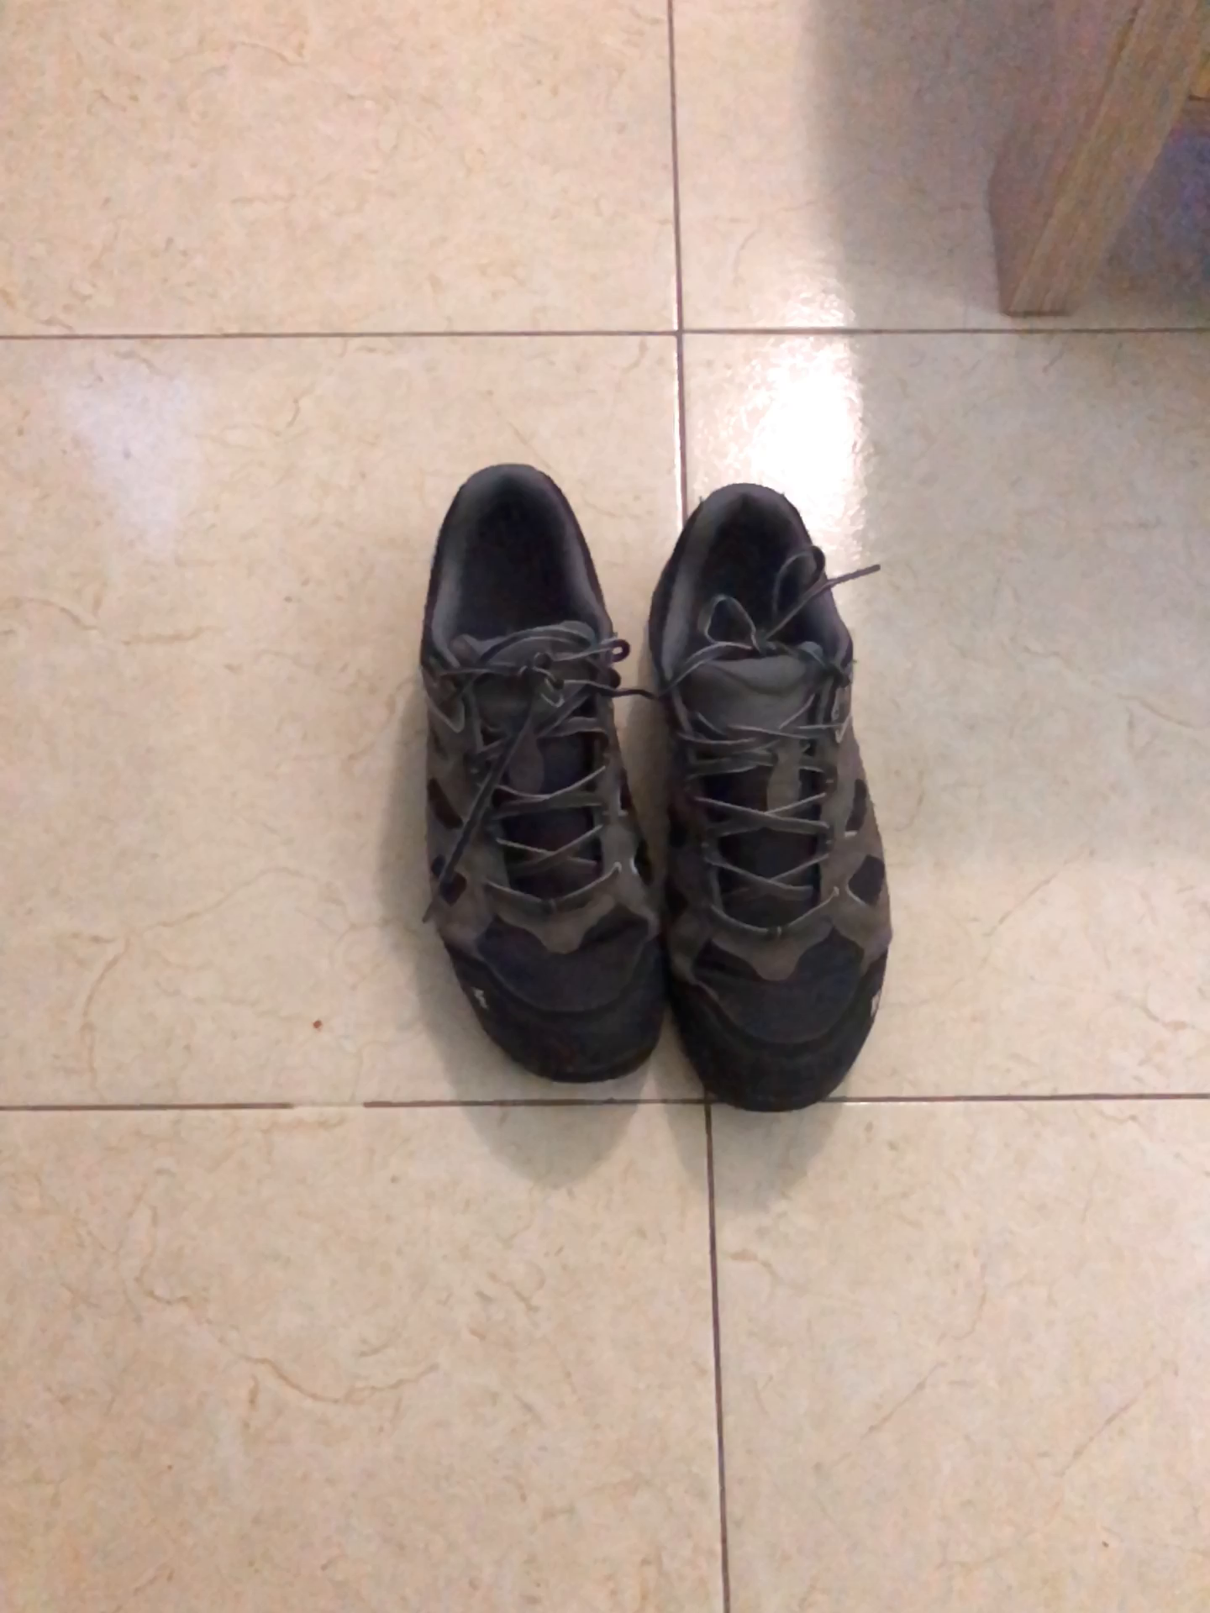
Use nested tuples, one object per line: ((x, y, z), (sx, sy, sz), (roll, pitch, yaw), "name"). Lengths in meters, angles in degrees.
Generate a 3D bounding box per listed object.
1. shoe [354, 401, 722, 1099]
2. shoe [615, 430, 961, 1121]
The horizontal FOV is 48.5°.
((-0.037, -0.028, 0.661), (0.120, 0.110, 0.310), (-9, 71, -4), "shoe")
((0.076, -0.015, 0.651), (0.120, 0.110, 0.310), (-3, 71, -2), "shoe")
